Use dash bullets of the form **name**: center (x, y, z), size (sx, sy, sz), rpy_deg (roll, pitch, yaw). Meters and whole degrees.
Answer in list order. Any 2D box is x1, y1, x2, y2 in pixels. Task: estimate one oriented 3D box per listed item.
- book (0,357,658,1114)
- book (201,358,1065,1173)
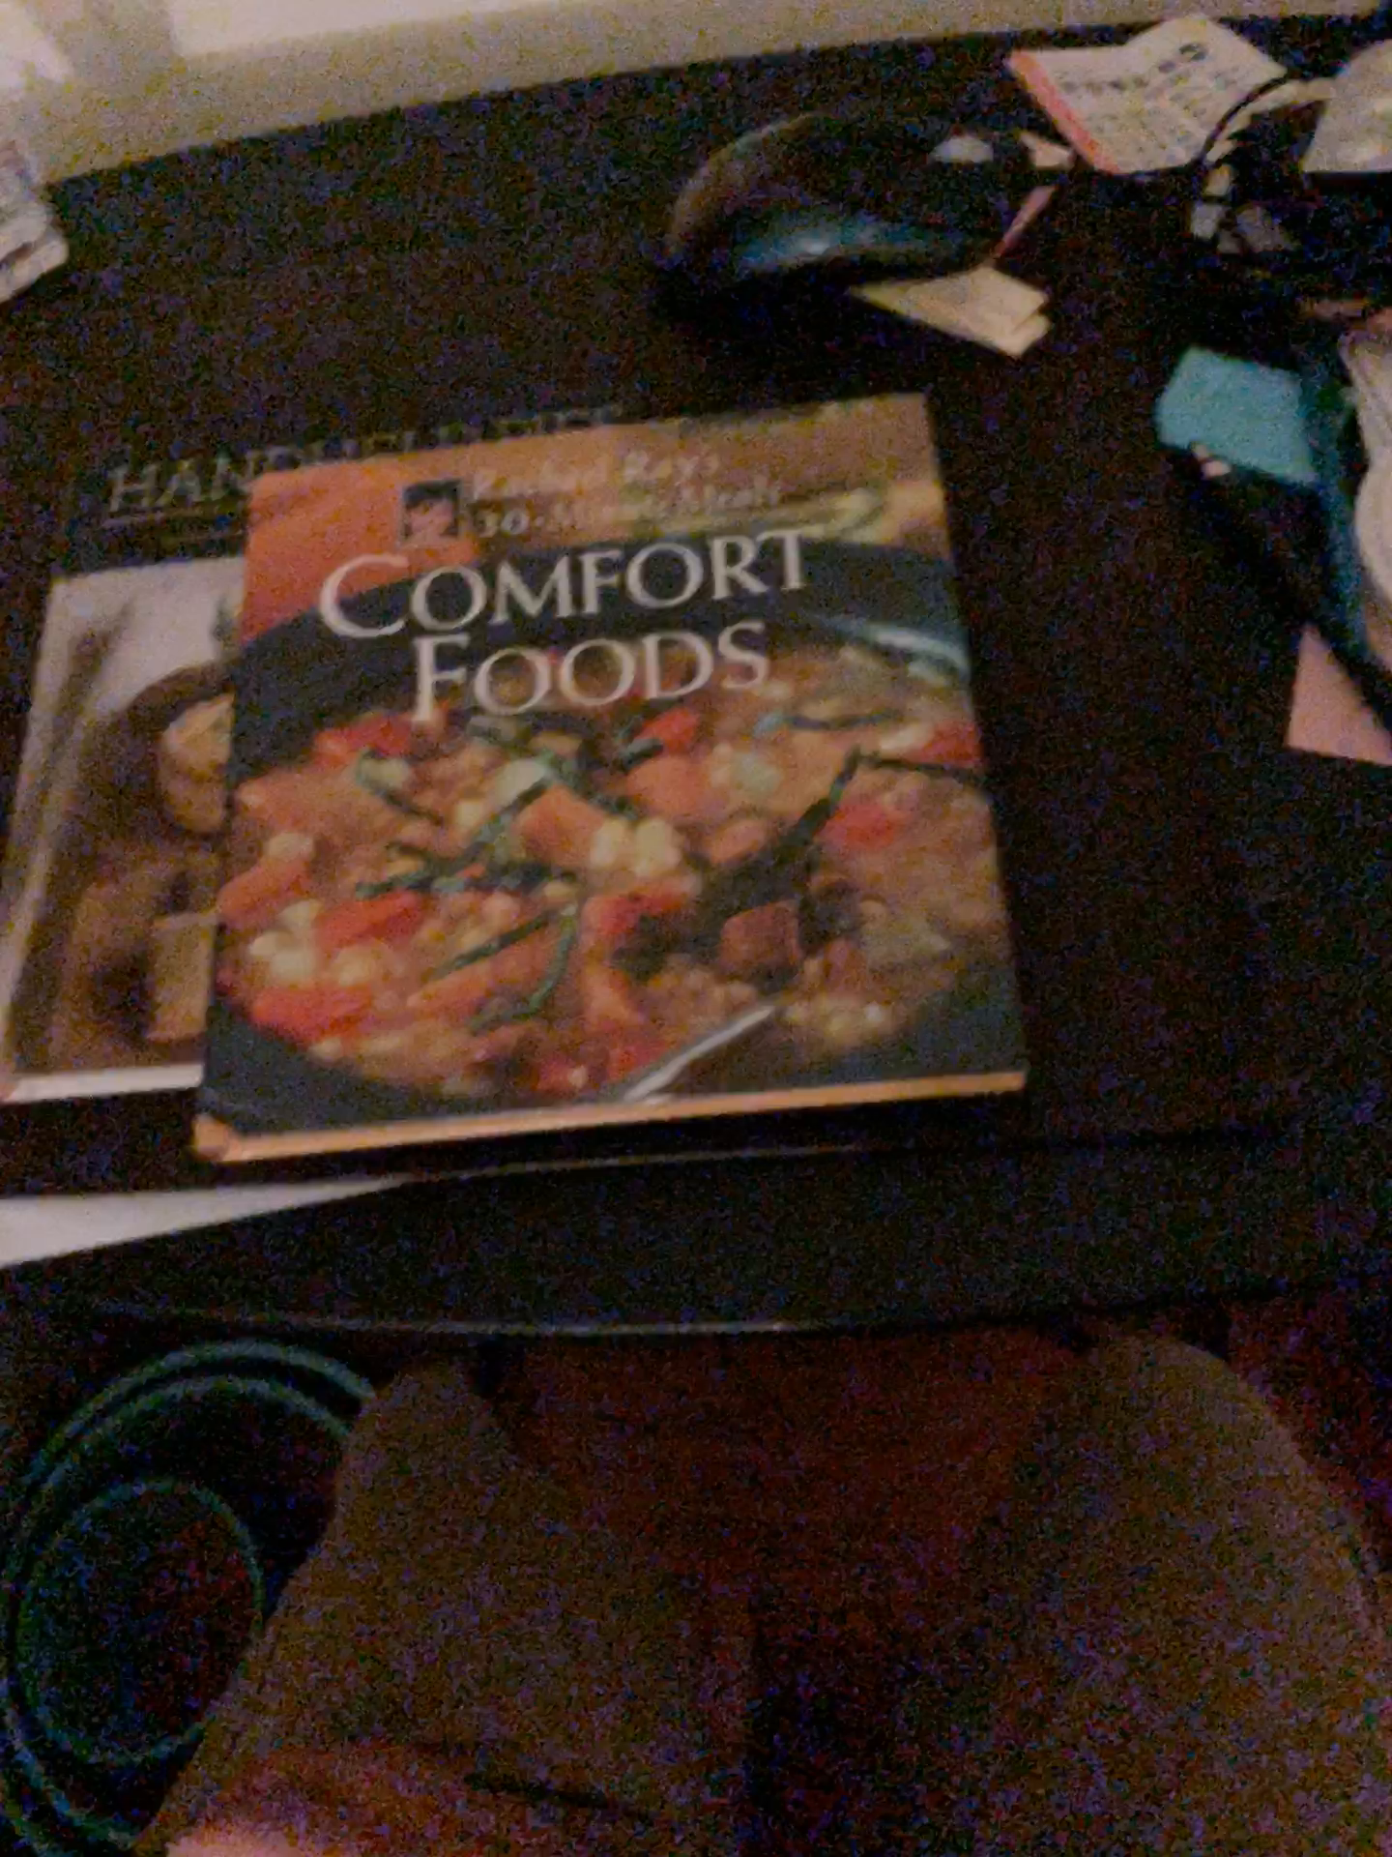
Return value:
- **book**: center (-0.106, -0.063, 0.421), size (0.180, 0.020, 0.220), rpy_deg (-6, 65, 6)
- **book**: center (-0.023, -0.050, 0.384), size (0.200, 0.020, 0.210), rpy_deg (-7, 65, 6)
